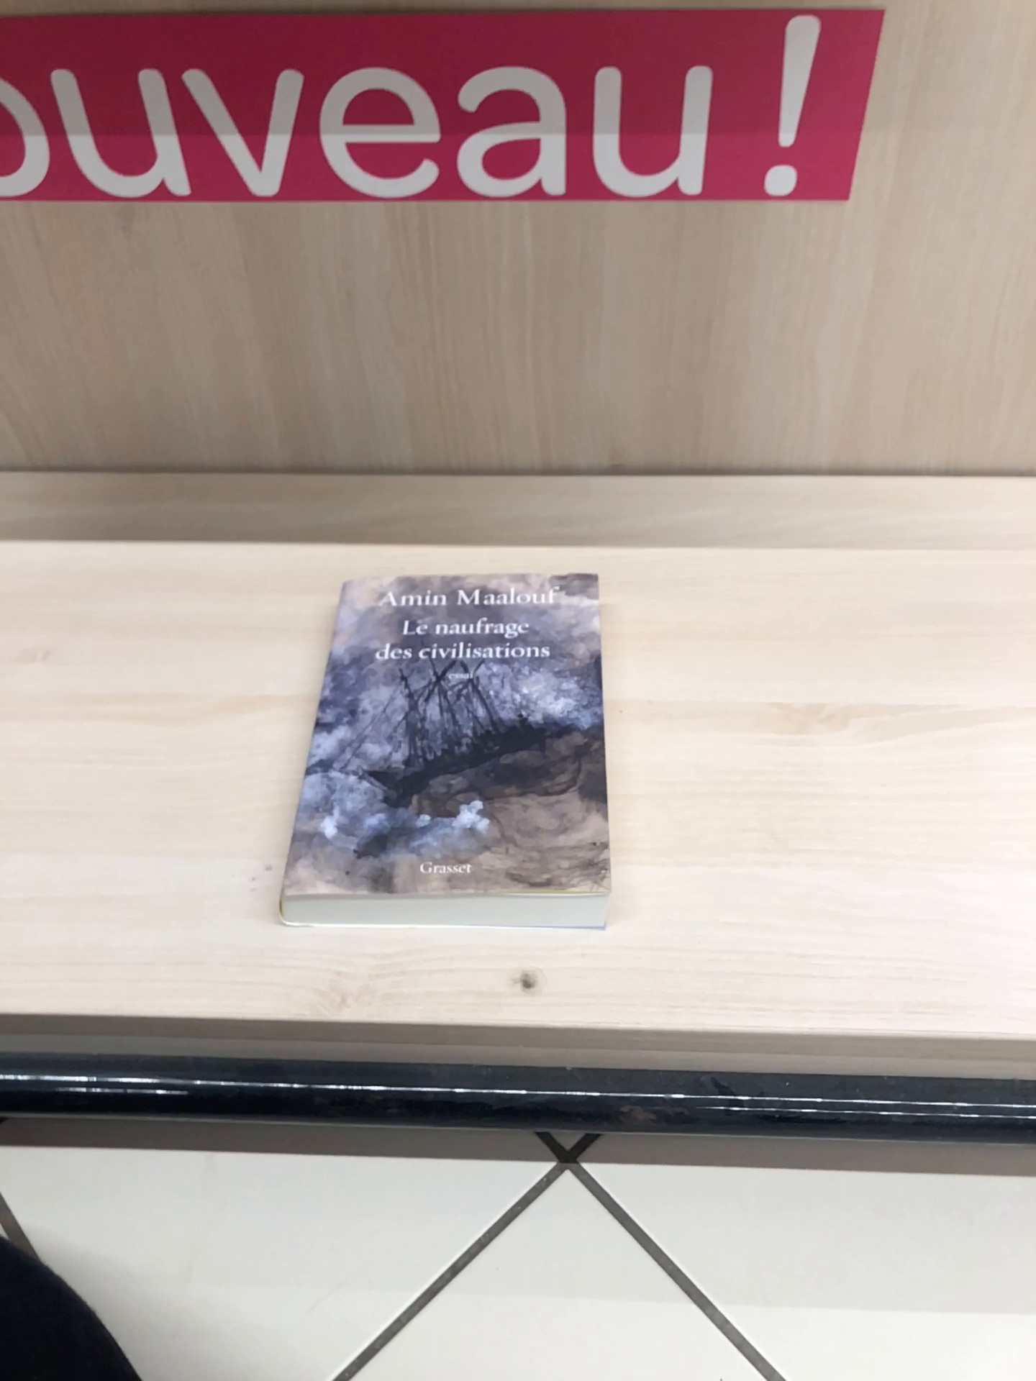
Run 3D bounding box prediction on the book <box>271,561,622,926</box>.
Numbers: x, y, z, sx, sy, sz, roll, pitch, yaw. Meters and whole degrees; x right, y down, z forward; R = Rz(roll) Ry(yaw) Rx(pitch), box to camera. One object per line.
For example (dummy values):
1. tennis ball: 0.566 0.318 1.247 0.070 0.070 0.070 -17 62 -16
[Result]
1. book: -0.027 0.016 0.561 0.147 0.026 0.212 0 47 2
